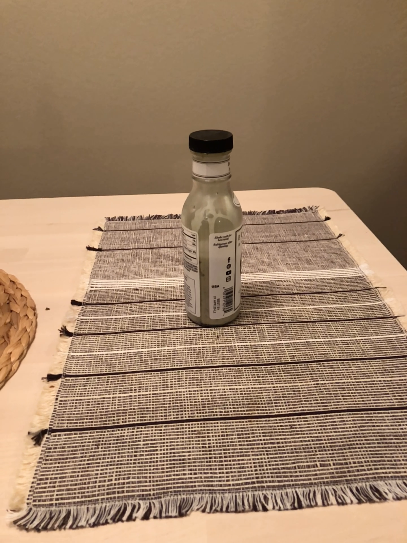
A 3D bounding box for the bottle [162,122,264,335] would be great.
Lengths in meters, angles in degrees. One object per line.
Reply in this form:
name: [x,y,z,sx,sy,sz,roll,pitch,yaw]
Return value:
bottle: [0.008,-0.041,0.441,0.069,0.186,0.075,-1,29,1]
